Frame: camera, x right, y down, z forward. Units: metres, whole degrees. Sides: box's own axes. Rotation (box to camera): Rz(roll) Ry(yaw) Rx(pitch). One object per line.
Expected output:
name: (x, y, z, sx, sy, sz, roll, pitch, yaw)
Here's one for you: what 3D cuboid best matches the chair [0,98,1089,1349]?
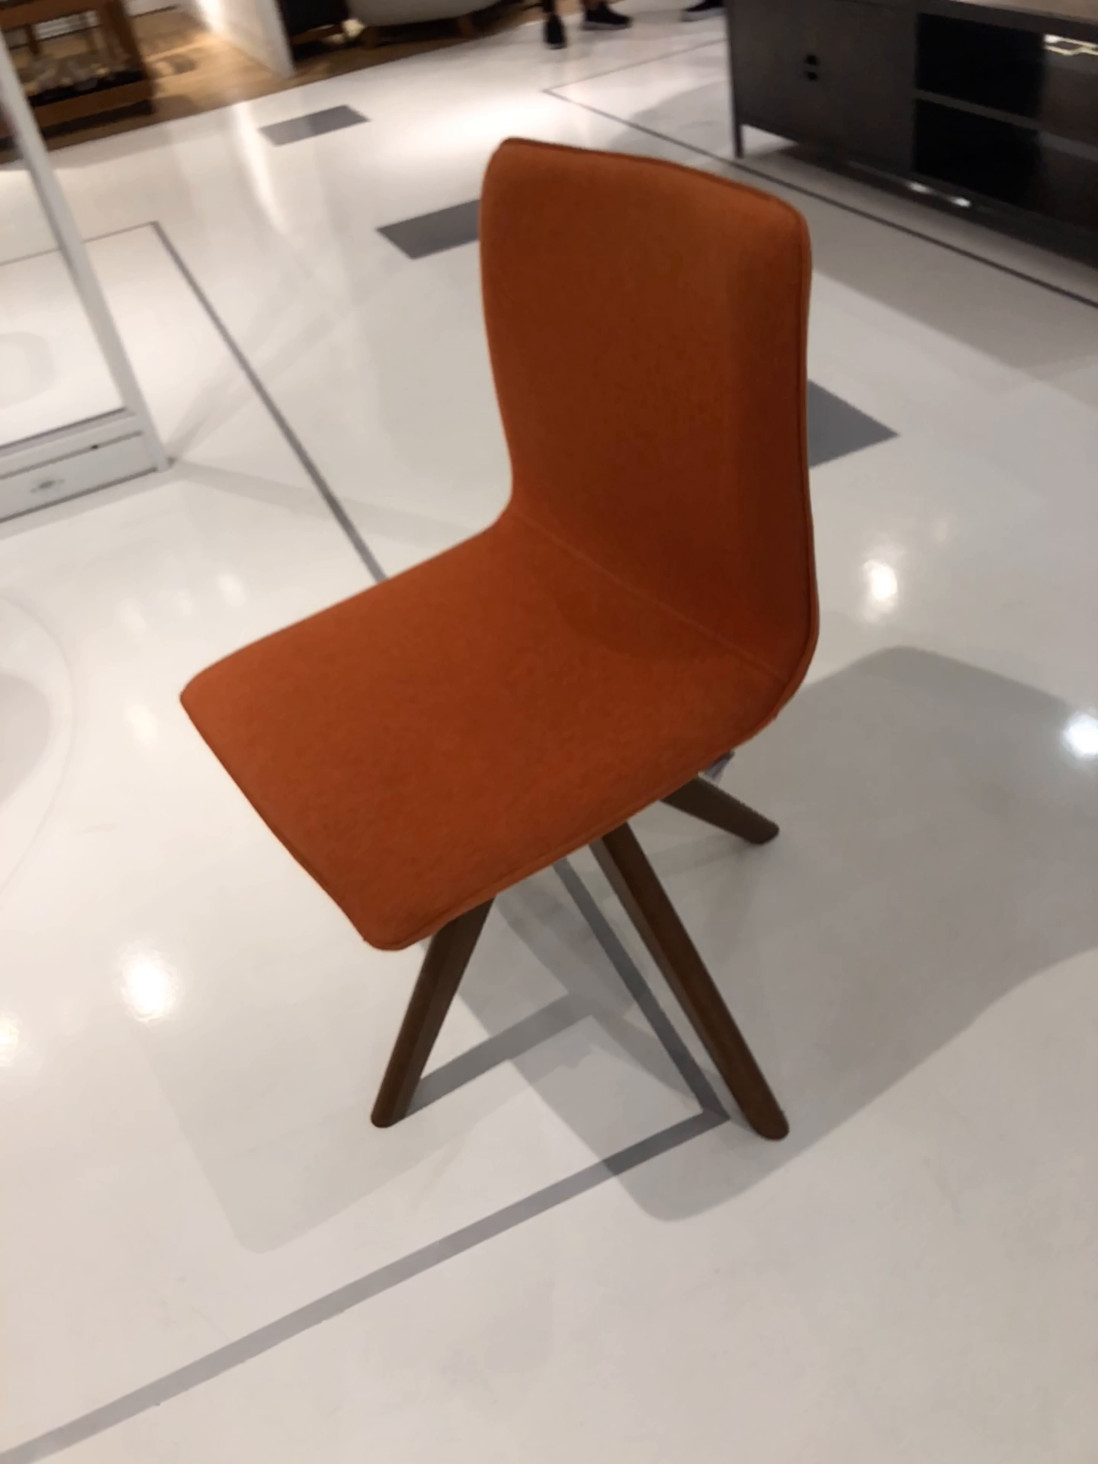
chair: (-0.006, -0.045, 1.134, 0.611, 0.795, 0.613, -30, 42, -21)
